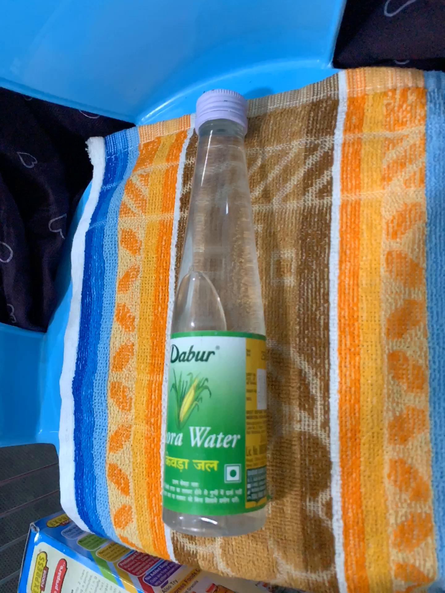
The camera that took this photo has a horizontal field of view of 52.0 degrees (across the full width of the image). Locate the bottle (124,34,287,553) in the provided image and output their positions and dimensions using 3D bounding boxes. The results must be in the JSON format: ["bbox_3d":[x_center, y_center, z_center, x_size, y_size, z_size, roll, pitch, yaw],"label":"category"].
[{"bbox_3d":[-0.008,-0.004,0.208,0.050,0.050,0.200,-6,81,29],"label":"bottle"}]
